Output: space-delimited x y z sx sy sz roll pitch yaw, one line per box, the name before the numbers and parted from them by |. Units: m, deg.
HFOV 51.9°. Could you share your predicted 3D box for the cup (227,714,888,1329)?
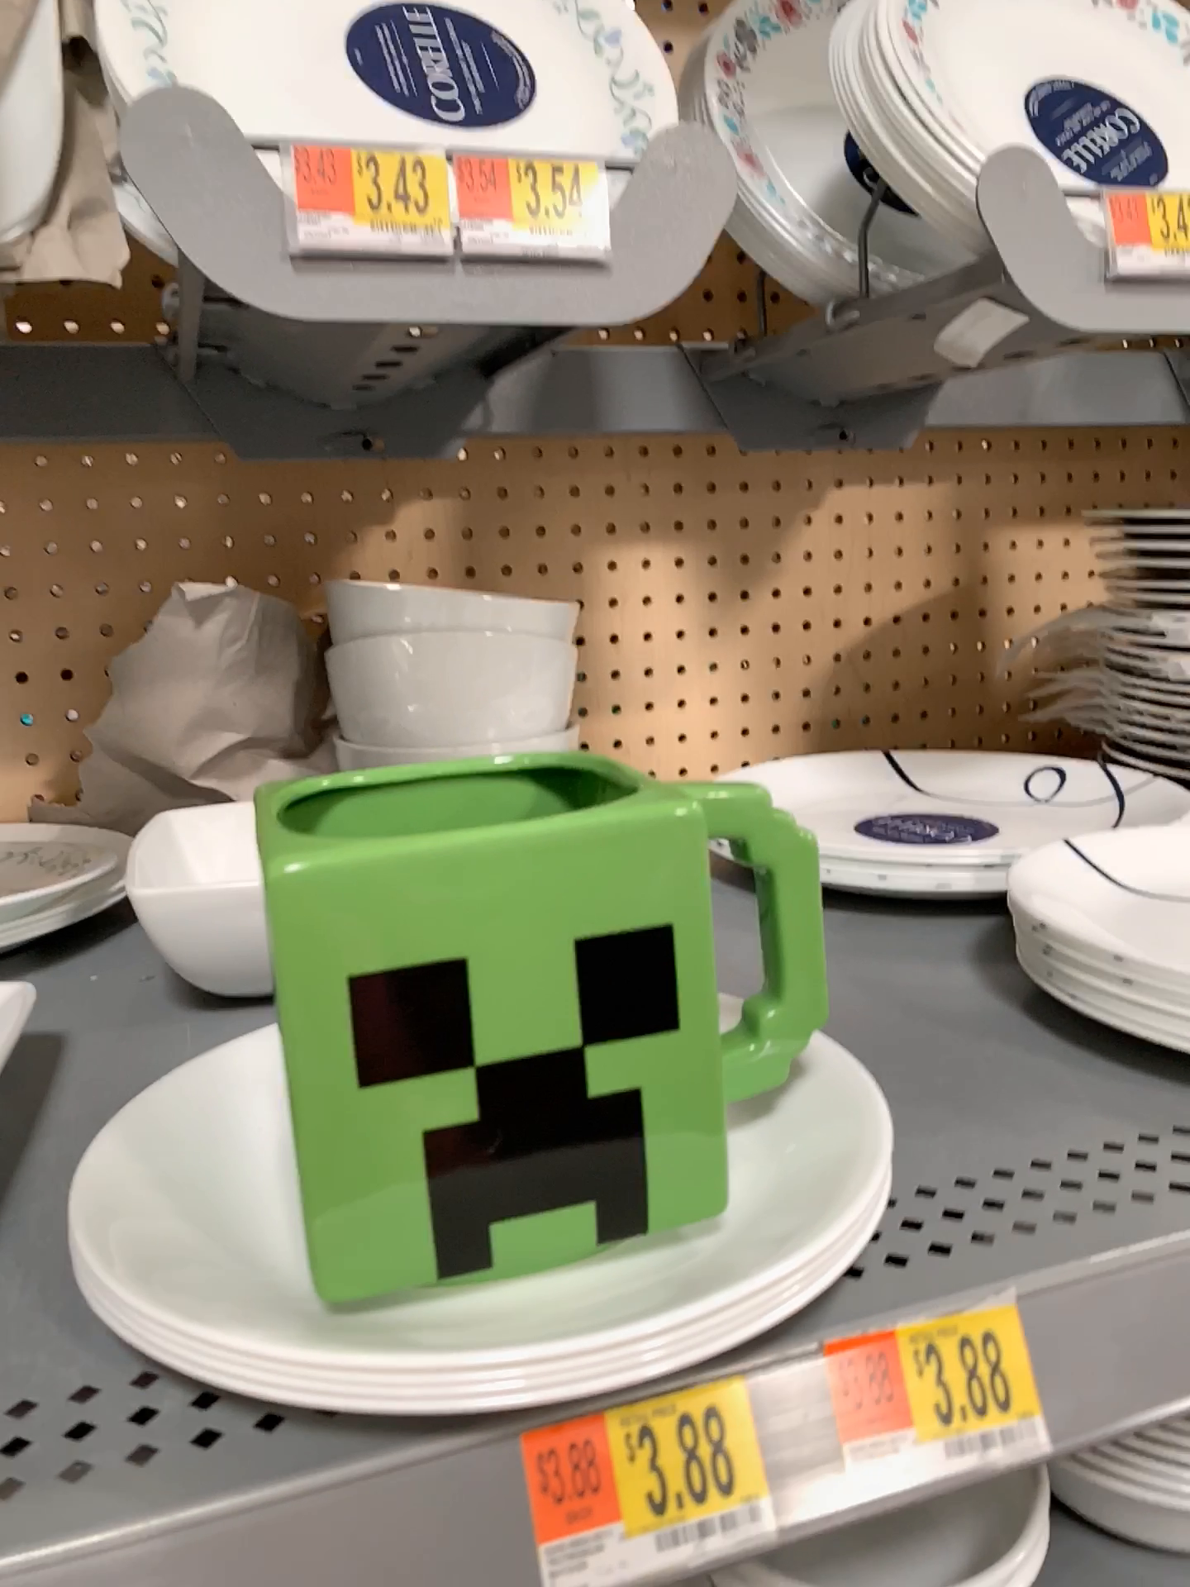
cup | -0.015 0.044 0.314 0.142 0.104 0.106 -6 12 -16
